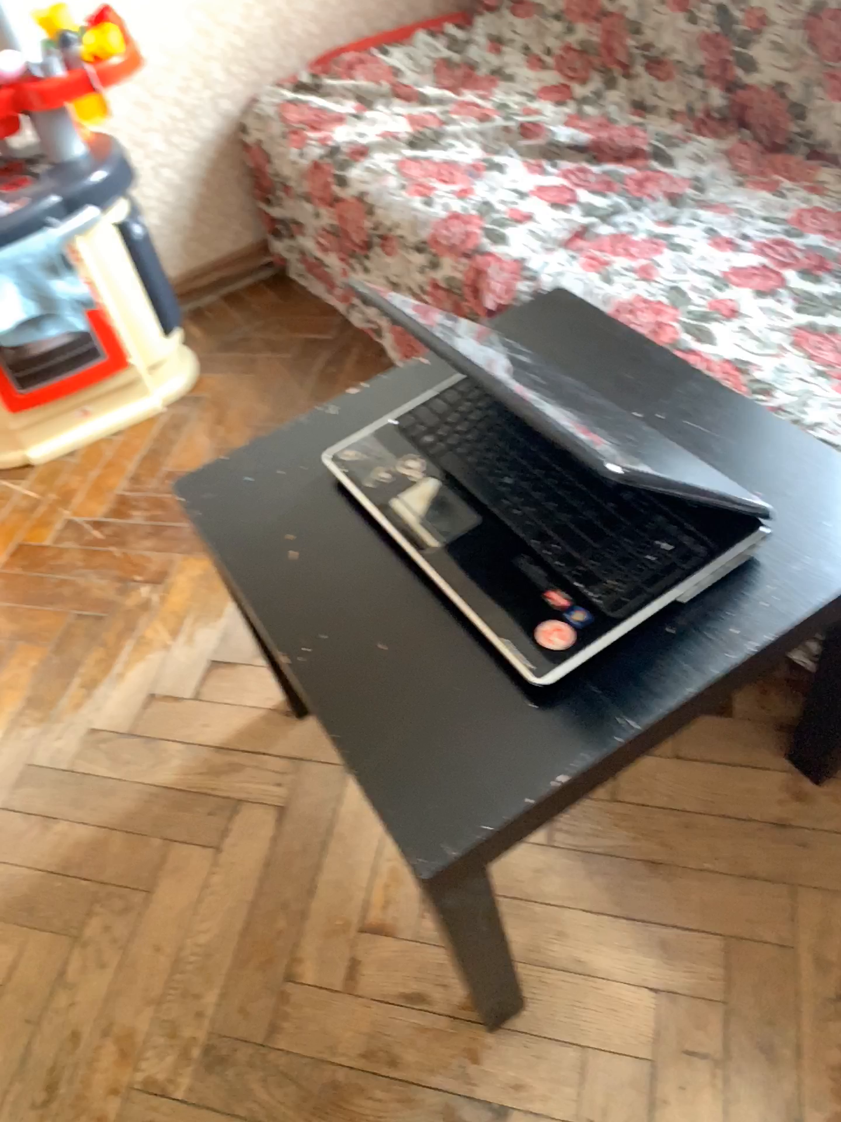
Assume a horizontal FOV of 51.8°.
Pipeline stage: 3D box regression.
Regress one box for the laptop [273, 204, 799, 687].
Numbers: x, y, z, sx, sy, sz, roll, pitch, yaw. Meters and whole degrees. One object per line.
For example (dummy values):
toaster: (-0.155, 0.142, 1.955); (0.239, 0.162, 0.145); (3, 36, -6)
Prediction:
laptop: (0.081, -0.125, 0.765); (0.251, 0.177, 0.367); (-31, 49, -14)
